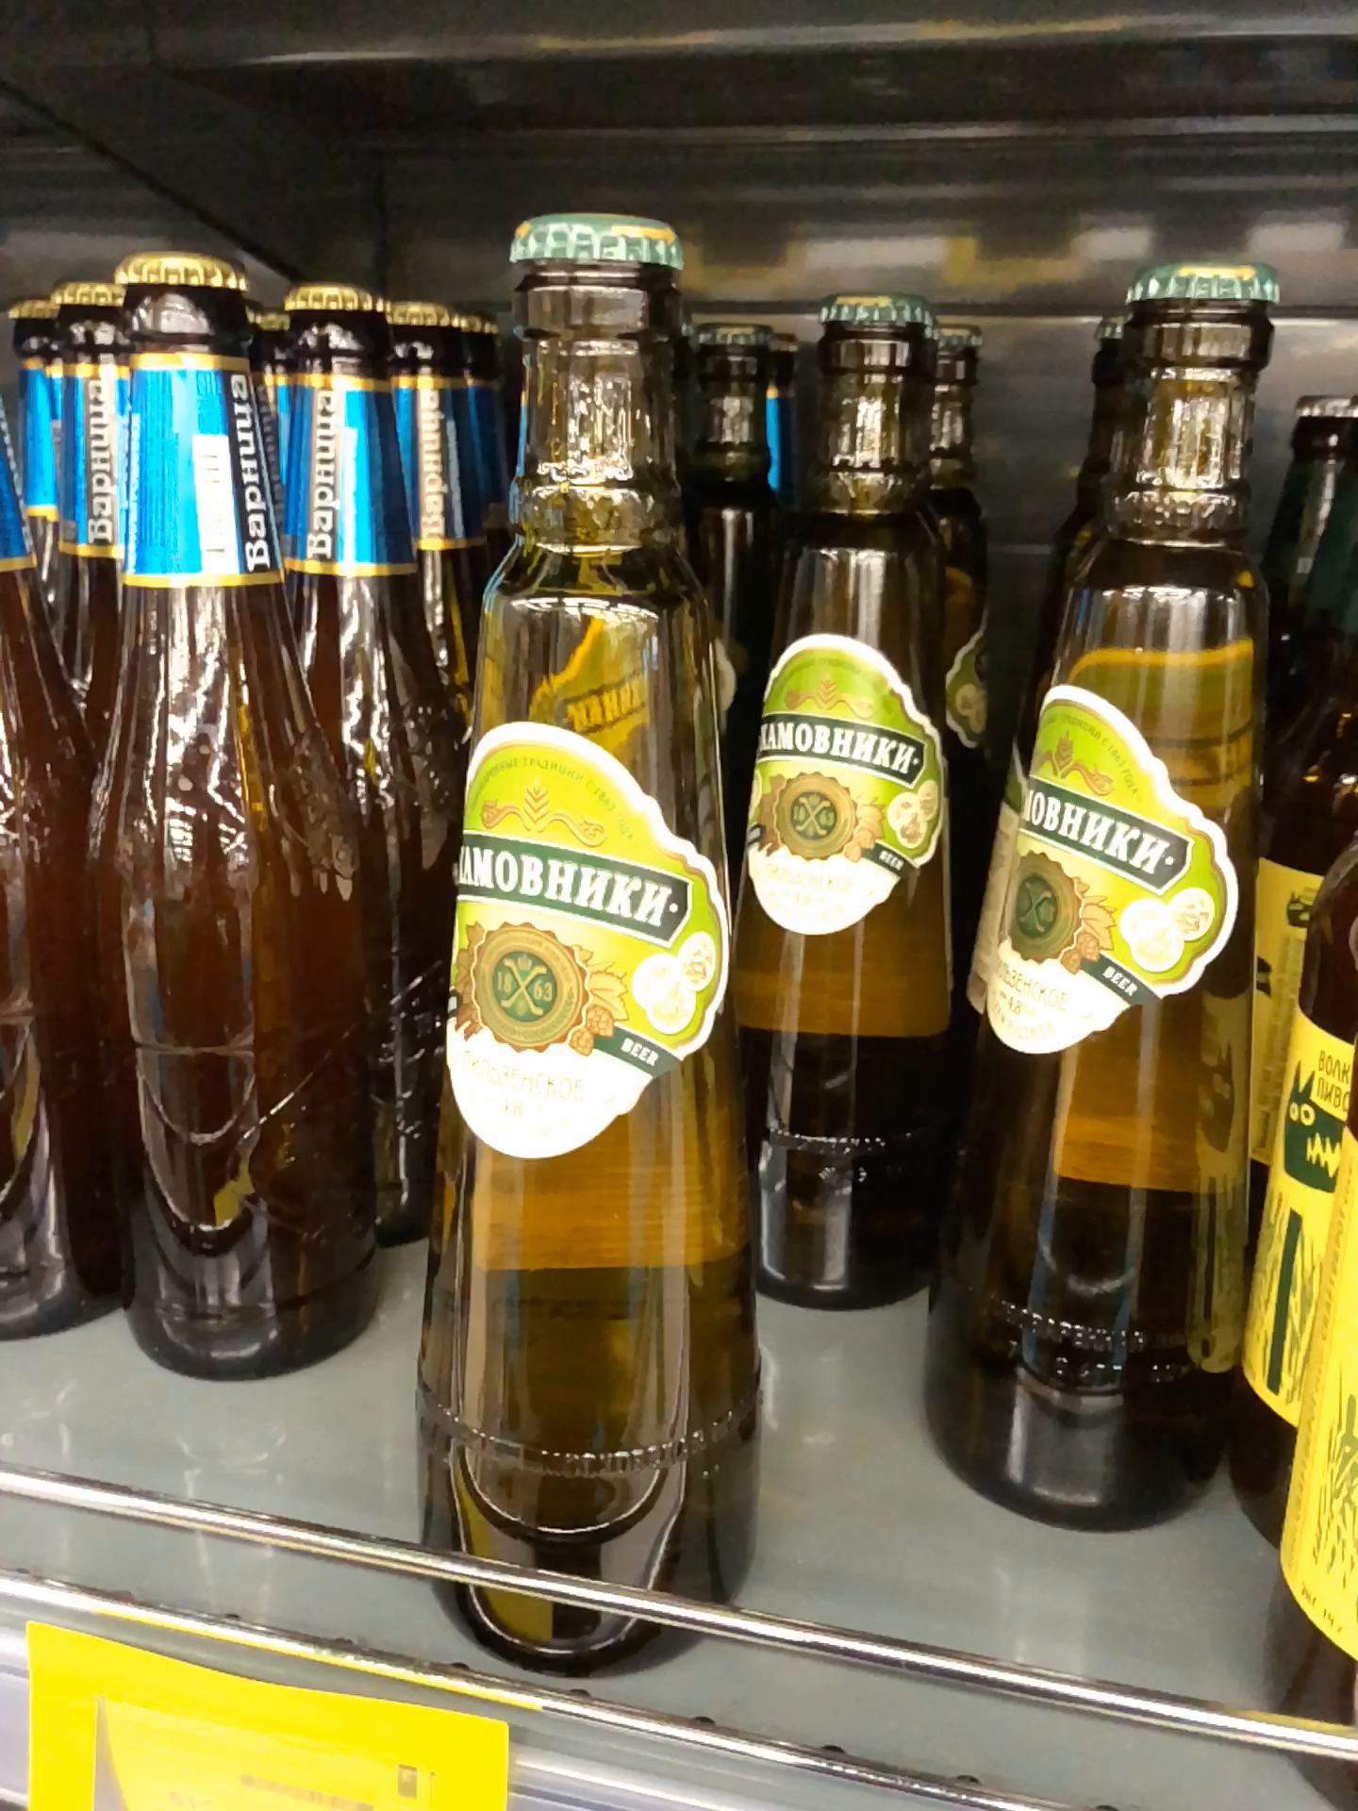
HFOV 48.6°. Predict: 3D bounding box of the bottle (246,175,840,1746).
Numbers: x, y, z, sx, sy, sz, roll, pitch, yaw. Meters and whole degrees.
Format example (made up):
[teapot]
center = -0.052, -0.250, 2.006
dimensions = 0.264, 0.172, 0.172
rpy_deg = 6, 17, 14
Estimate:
[bottle]
center = -0.021, 0.014, 0.280
dimensions = 0.070, 0.261, 0.070
rpy_deg = 1, 17, 0
